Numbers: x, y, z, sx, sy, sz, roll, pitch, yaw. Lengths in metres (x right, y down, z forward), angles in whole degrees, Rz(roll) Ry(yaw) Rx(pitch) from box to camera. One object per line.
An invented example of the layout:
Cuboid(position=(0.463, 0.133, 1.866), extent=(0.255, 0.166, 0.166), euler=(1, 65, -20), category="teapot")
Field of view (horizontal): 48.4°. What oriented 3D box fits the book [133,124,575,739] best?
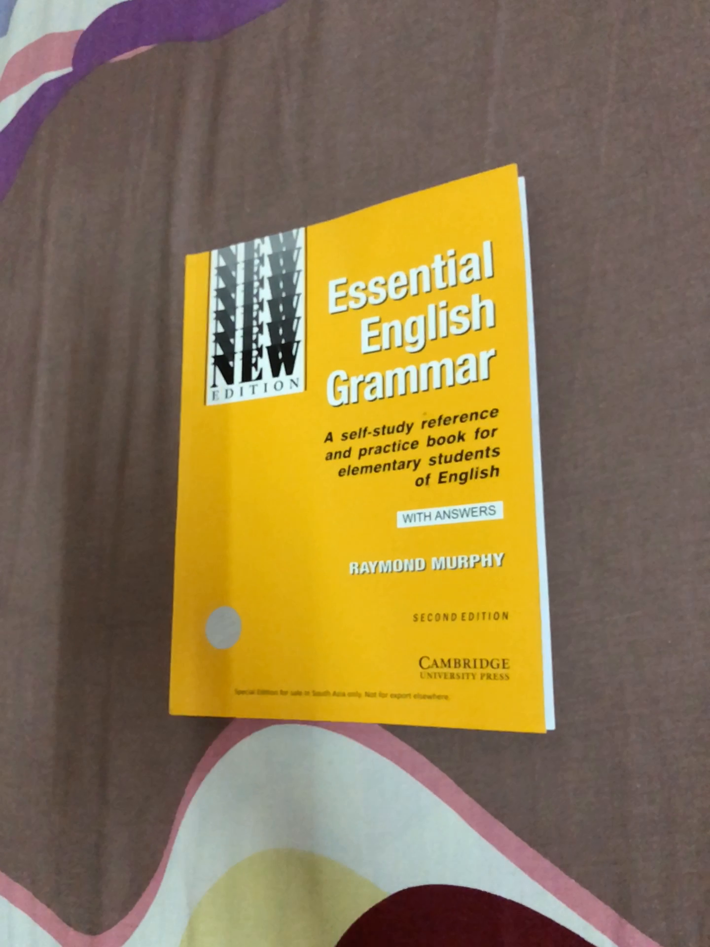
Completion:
Cuboid(position=(-0.006, -0.015, 0.366), extent=(0.190, 0.040, 0.250), euler=(-6, 75, 25), category="book")
